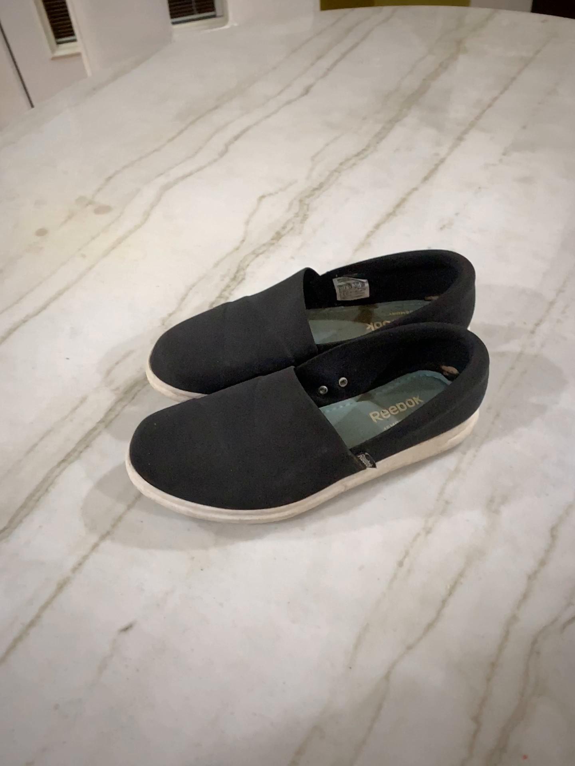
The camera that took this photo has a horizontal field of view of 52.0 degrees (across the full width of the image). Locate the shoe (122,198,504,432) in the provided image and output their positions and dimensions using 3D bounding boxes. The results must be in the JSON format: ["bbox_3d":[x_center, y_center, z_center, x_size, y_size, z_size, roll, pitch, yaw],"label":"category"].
[{"bbox_3d":[0.013,-0.048,0.409,0.229,0.078,0.092,-12,54,-5],"label":"shoe"}]

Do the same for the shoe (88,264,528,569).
[{"bbox_3d":[0.011,0.017,0.363,0.229,0.078,0.092,-19,55,-10],"label":"shoe"}]
